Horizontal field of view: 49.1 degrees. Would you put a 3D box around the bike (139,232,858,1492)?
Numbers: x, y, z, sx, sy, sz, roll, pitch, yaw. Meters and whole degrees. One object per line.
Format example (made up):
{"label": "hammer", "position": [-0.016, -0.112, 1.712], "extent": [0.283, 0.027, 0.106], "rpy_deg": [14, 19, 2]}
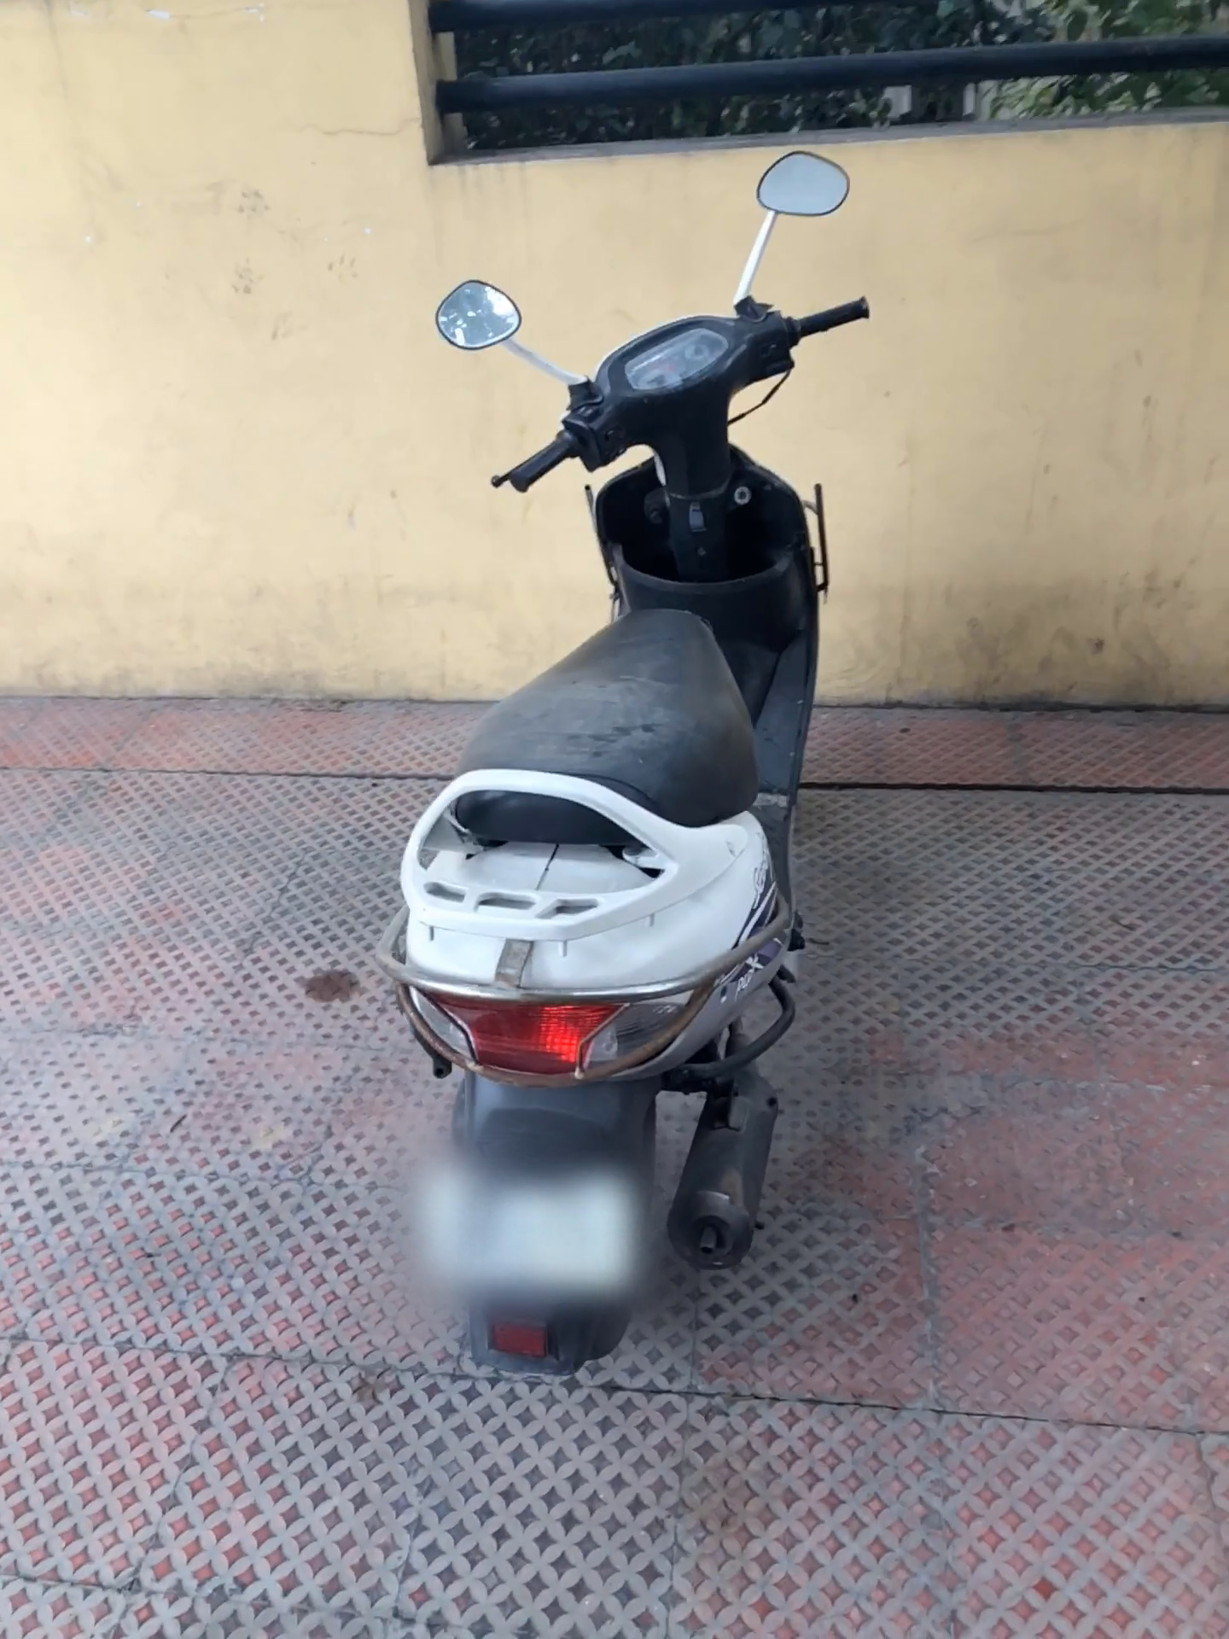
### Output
{"label": "bike", "position": [0.029, -0.103, 1.962], "extent": [0.599, 1.081, 1.481], "rpy_deg": [2, 34, 9]}
